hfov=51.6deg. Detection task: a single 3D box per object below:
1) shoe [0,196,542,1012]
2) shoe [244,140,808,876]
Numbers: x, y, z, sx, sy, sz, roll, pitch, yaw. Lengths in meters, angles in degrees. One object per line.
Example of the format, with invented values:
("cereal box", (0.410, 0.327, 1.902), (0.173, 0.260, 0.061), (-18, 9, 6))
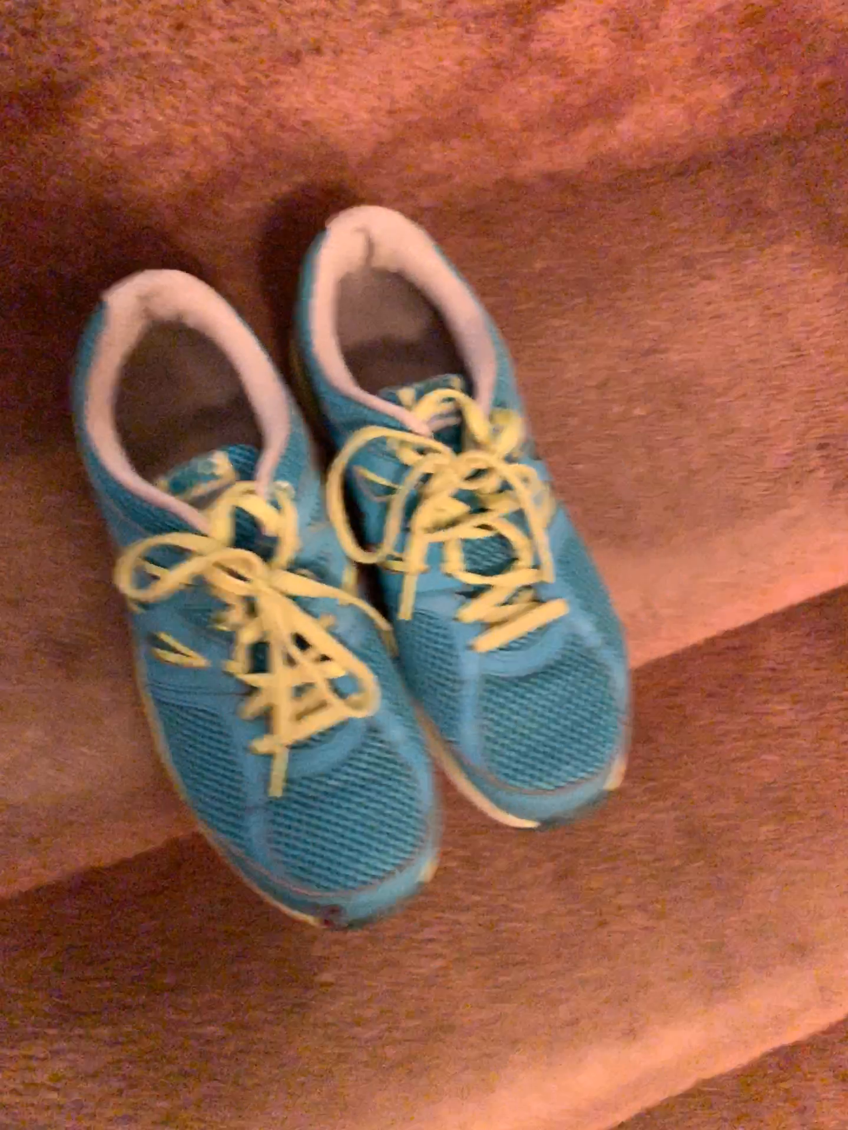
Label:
("shoe", (-0.075, 0.005, 0.350), (0.110, 0.100, 0.281), (-21, 71, -14))
("shoe", (0.022, -0.030, 0.374), (0.110, 0.100, 0.281), (-18, 70, -13))
